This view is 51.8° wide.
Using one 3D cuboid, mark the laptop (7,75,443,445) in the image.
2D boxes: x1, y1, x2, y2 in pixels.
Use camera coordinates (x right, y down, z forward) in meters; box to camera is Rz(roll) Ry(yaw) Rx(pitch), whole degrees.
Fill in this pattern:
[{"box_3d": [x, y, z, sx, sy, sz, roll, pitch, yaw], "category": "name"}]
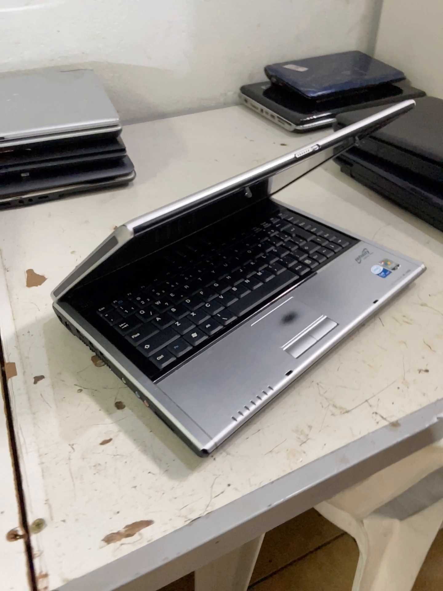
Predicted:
[{"box_3d": [0.028, -0.076, 0.441, 0.331, 0.164, 0.228, -31, 47, -32], "category": "laptop"}]
